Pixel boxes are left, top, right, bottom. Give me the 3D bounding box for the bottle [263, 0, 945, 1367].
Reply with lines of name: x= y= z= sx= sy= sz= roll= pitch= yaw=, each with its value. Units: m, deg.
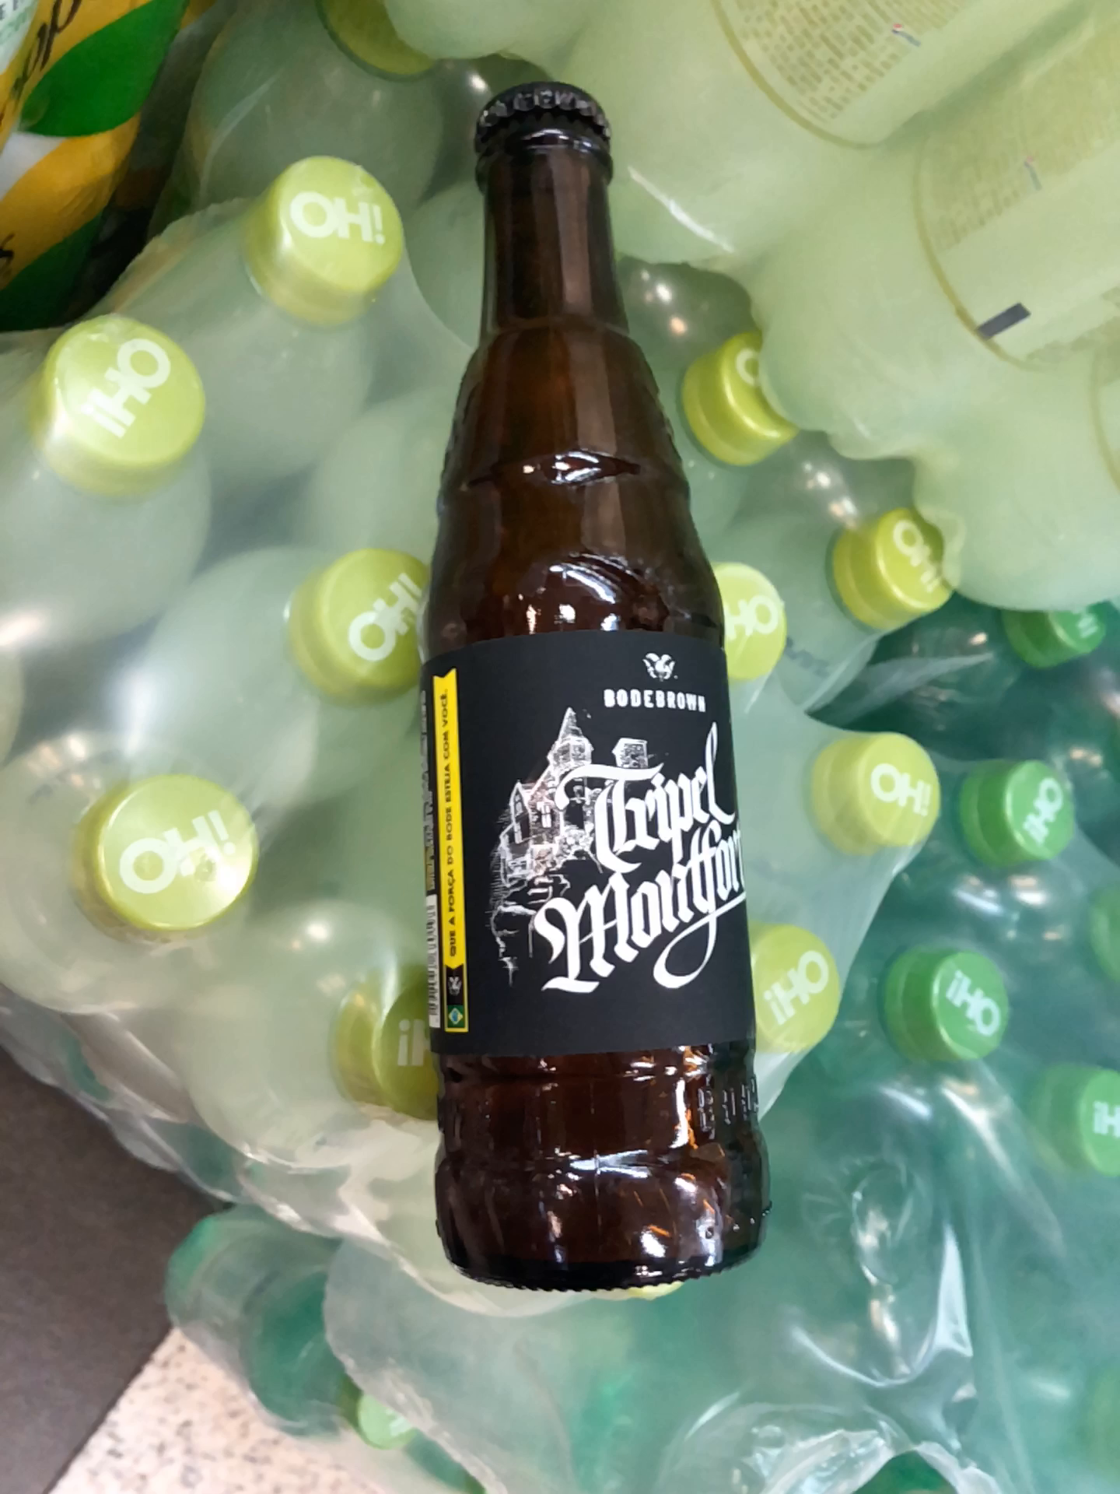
bottle: x=0.001 y=-0.041 z=0.221 sx=0.070 sy=0.070 sz=0.250 roll=-1 pitch=82 yaw=-32
